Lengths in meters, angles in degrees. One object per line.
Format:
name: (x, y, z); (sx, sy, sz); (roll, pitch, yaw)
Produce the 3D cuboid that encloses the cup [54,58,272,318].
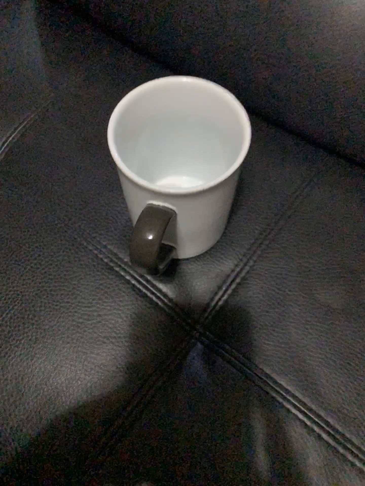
cup: (-0.006, -0.034, 0.273); (0.092, 0.115, 0.124); (16, 63, 7)
